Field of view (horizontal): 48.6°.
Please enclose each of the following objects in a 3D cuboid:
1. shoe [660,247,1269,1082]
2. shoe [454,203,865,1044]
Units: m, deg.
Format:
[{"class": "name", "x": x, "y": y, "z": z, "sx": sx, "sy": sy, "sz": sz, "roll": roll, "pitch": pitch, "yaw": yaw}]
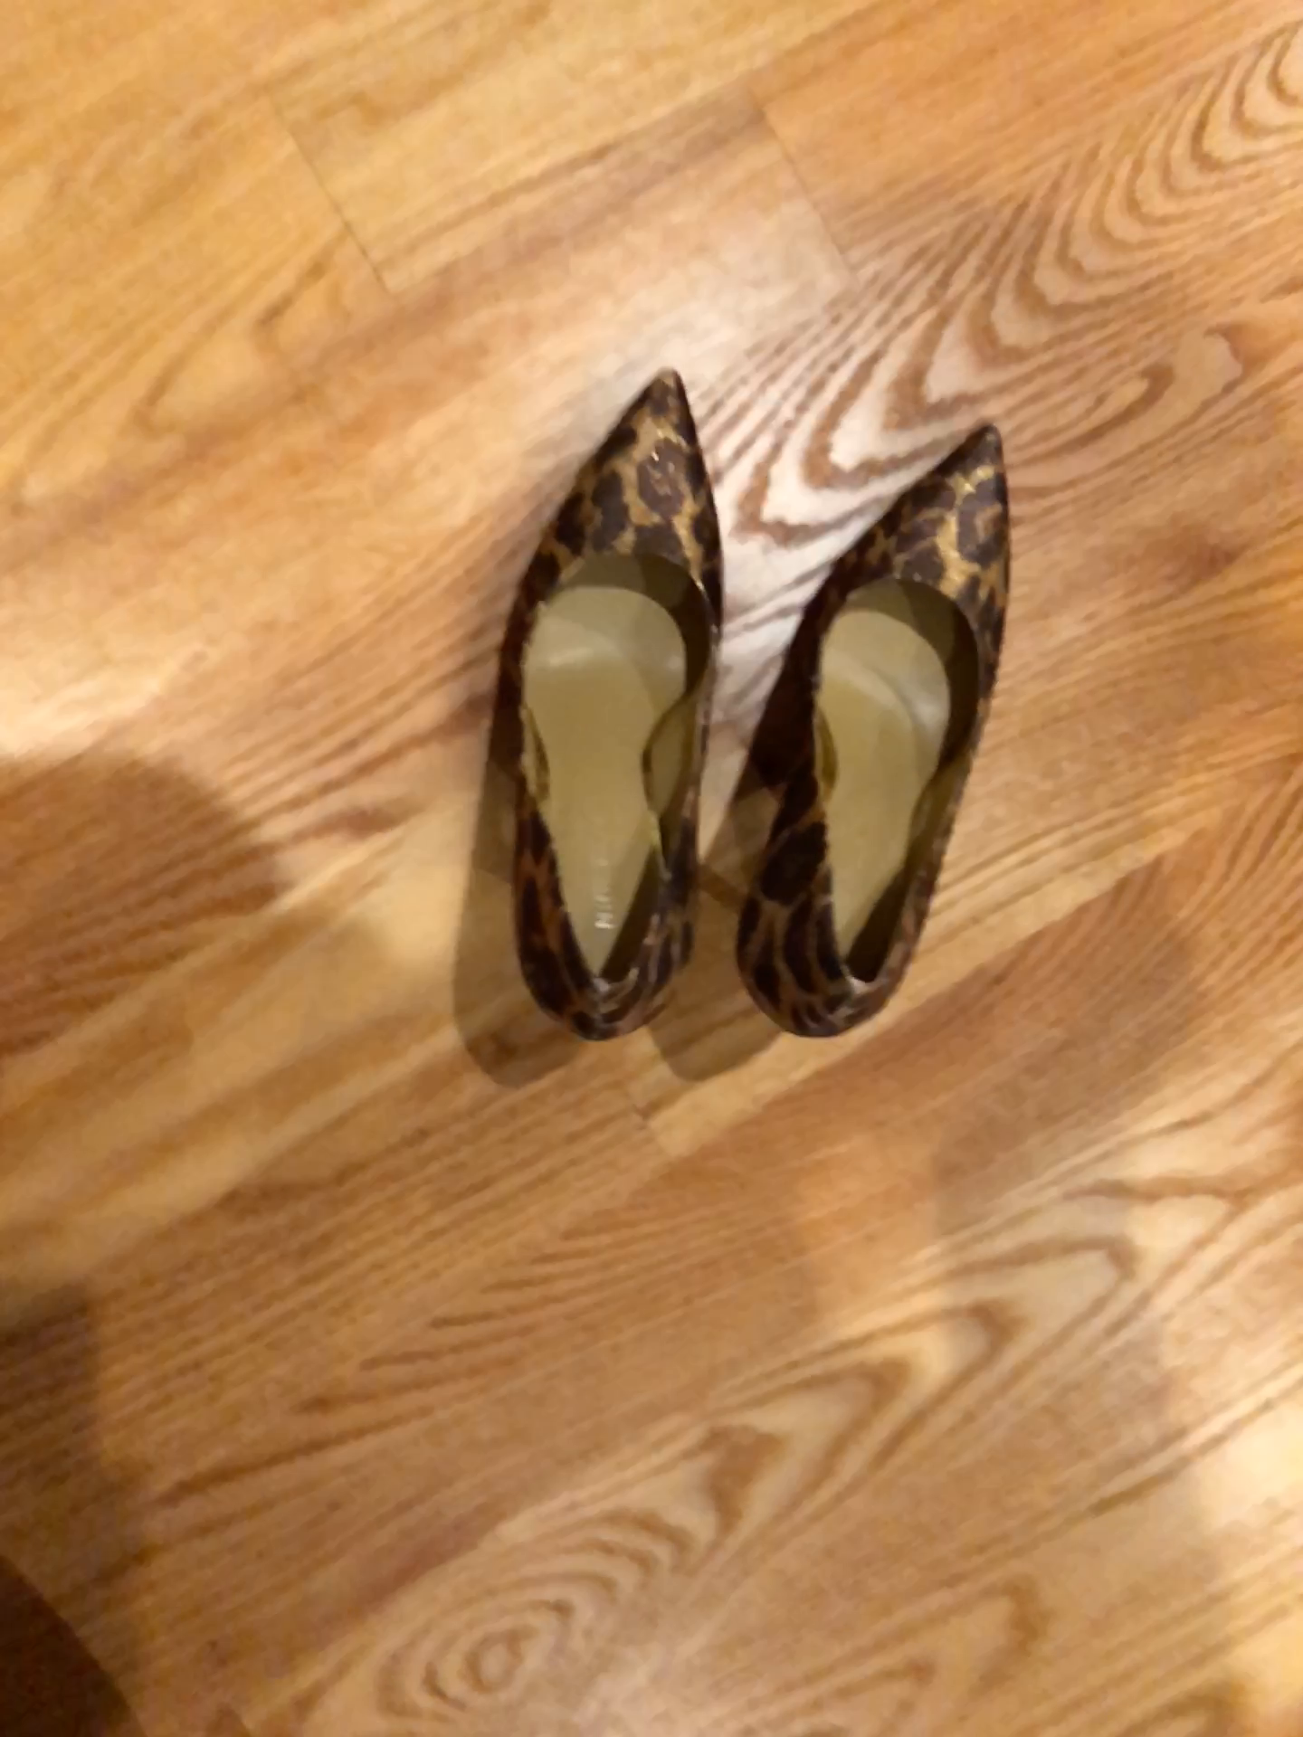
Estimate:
[{"class": "shoe", "x": 0.090, "y": -0.059, "z": 0.477, "sx": 0.083, "sy": 0.144, "sz": 0.218, "roll": 21, "pitch": 90, "yaw": -7}, {"class": "shoe", "x": -0.006, "y": -0.068, "z": 0.466, "sx": 0.083, "sy": 0.144, "sz": 0.218, "roll": 8, "pitch": 92, "yaw": -7}]
